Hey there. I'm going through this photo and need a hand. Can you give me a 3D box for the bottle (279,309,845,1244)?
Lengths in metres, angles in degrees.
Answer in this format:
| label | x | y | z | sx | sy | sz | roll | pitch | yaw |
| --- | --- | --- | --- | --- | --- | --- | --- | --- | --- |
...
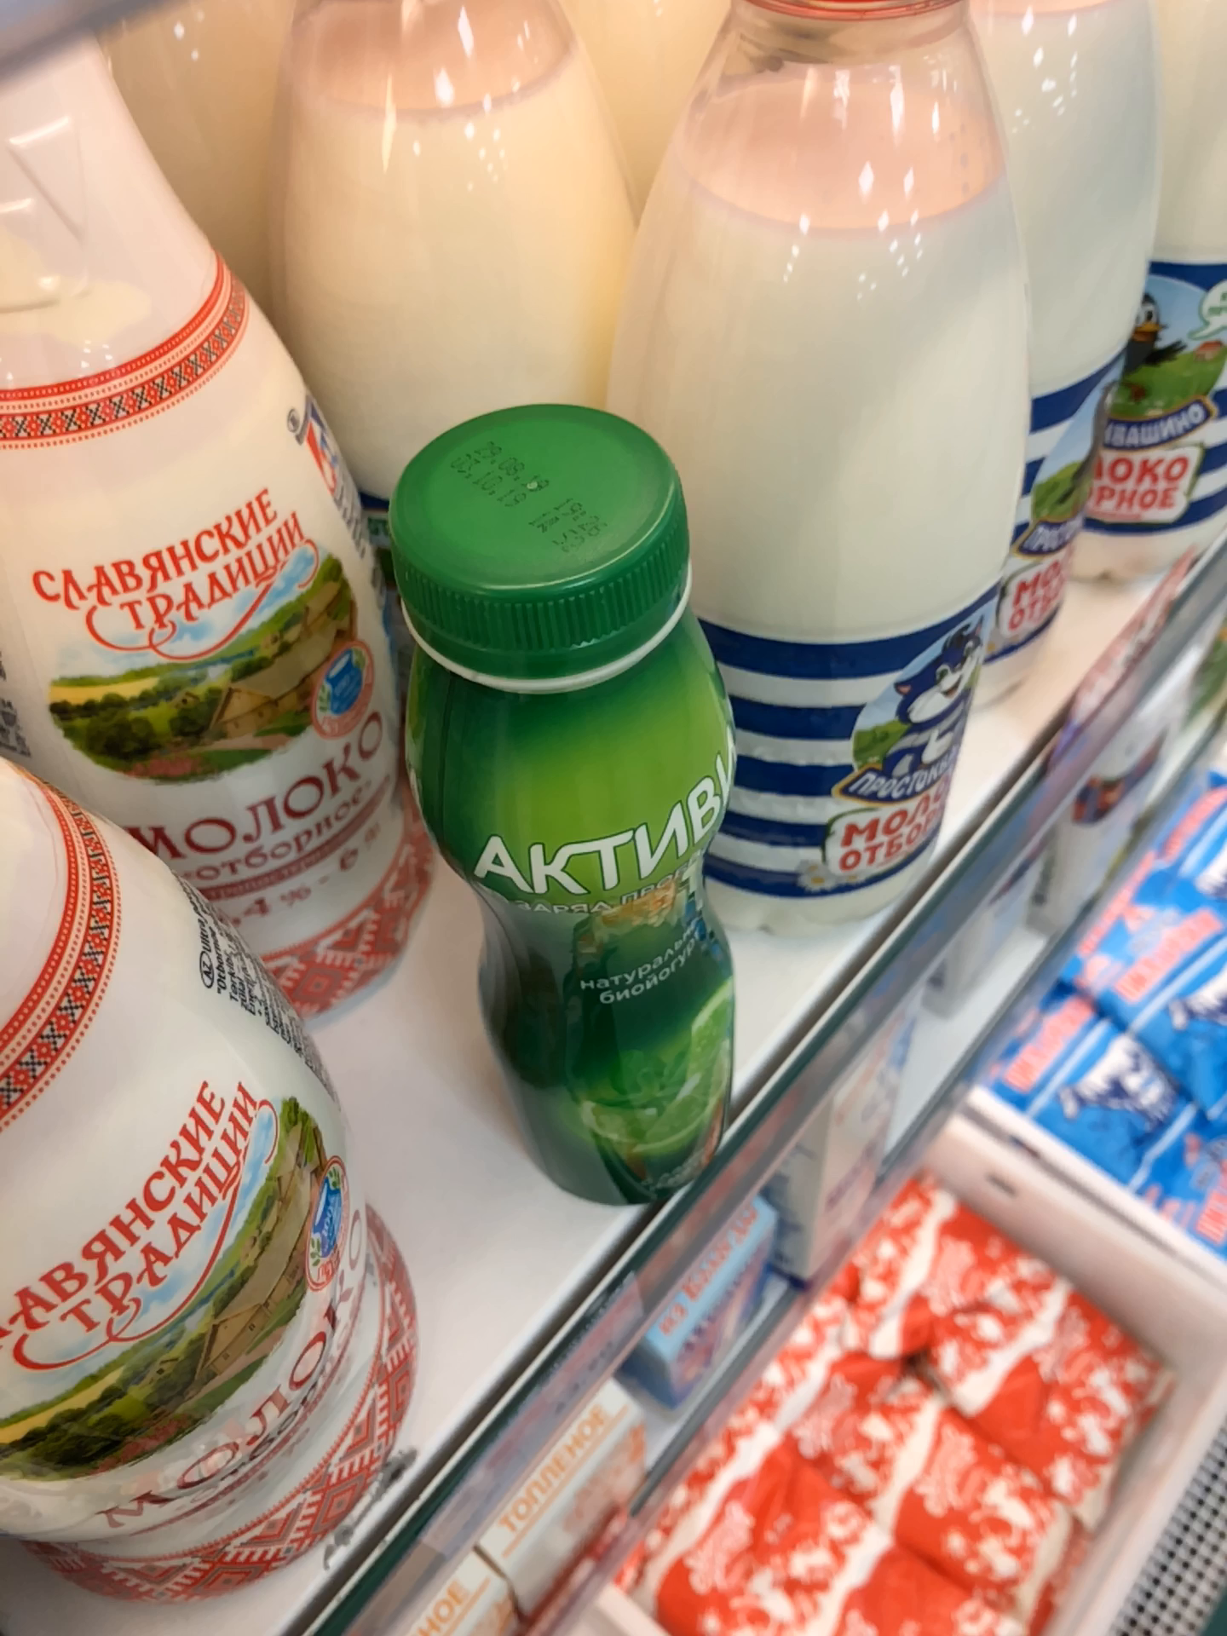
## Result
| label | x | y | z | sx | sy | sz | roll | pitch | yaw |
| --- | --- | --- | --- | --- | --- | --- | --- | --- | --- |
| bottle | -0.003 | 0.009 | 0.249 | 0.053 | 0.179 | 0.052 | -2 | 53 | 2 |
